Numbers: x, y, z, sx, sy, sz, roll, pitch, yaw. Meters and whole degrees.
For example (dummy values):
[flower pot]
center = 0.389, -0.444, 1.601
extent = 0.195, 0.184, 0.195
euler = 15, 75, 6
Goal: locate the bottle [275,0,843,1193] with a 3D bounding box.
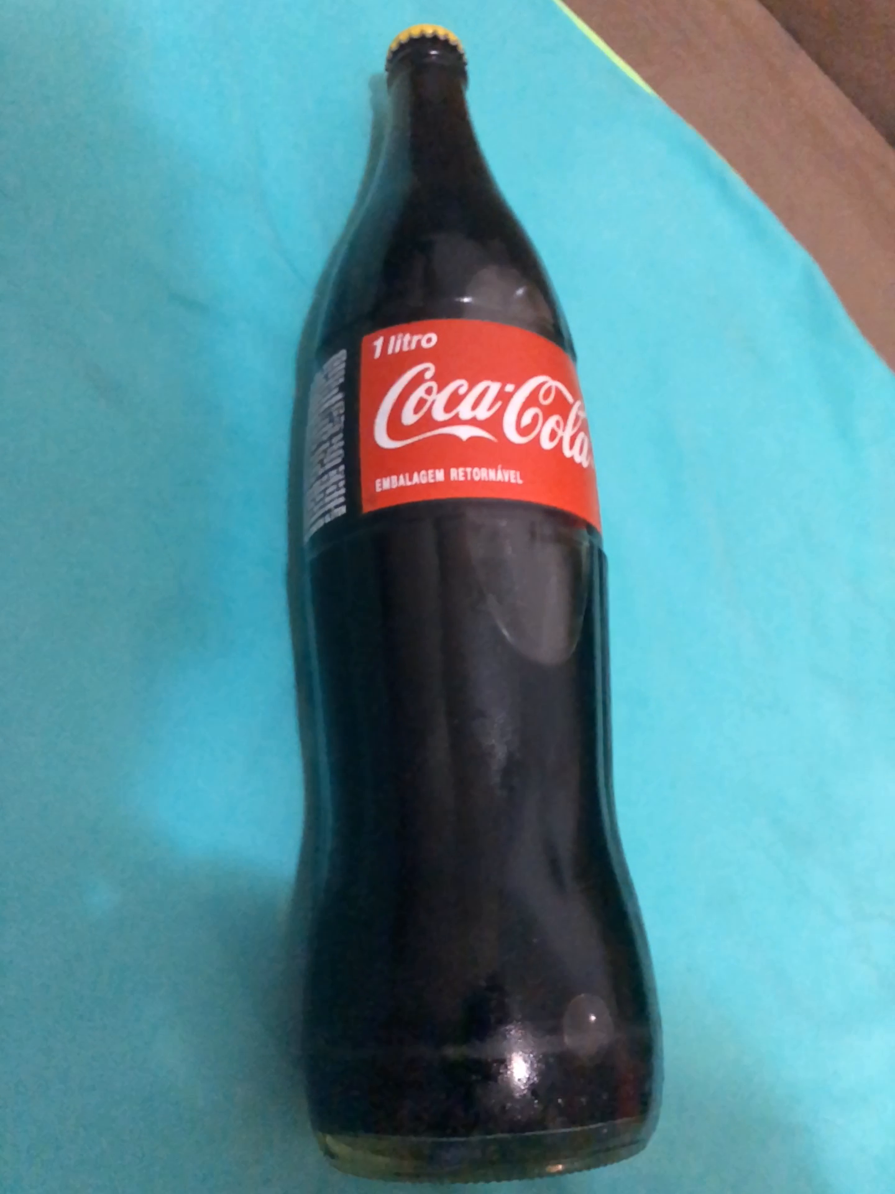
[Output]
[bottle]
center = 0.014, -0.035, 0.279
extent = 0.100, 0.070, 0.360
euler = 9, 67, -31
